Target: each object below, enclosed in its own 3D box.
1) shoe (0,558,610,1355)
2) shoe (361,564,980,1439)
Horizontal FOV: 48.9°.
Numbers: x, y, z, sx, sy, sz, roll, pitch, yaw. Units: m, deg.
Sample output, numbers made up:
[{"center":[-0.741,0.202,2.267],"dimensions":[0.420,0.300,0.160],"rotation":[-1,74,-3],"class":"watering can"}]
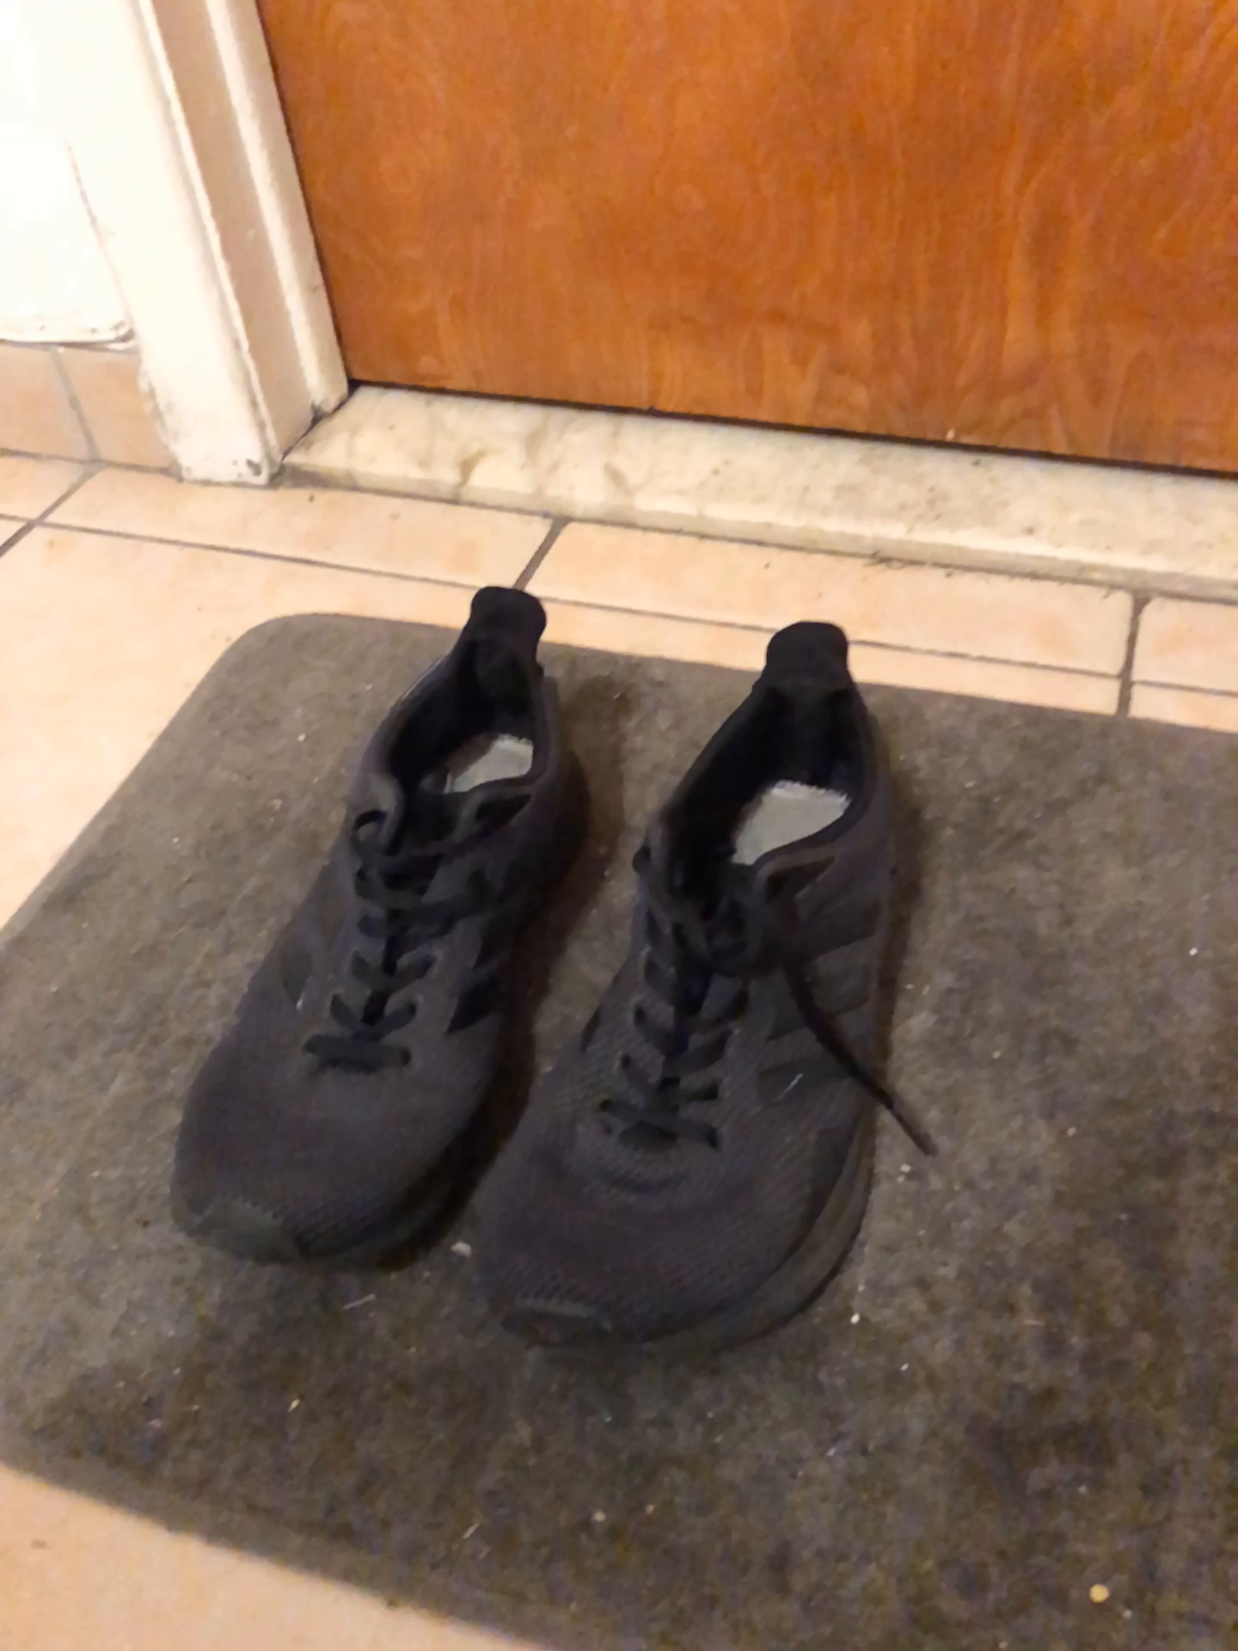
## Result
[{"center":[-0.091,0.032,0.505],"dimensions":[0.110,0.119,0.262],"rotation":[10,47,11],"class":"shoe"},{"center":[0.036,0.041,0.466],"dimensions":[0.110,0.119,0.262],"rotation":[12,48,19],"class":"shoe"}]
